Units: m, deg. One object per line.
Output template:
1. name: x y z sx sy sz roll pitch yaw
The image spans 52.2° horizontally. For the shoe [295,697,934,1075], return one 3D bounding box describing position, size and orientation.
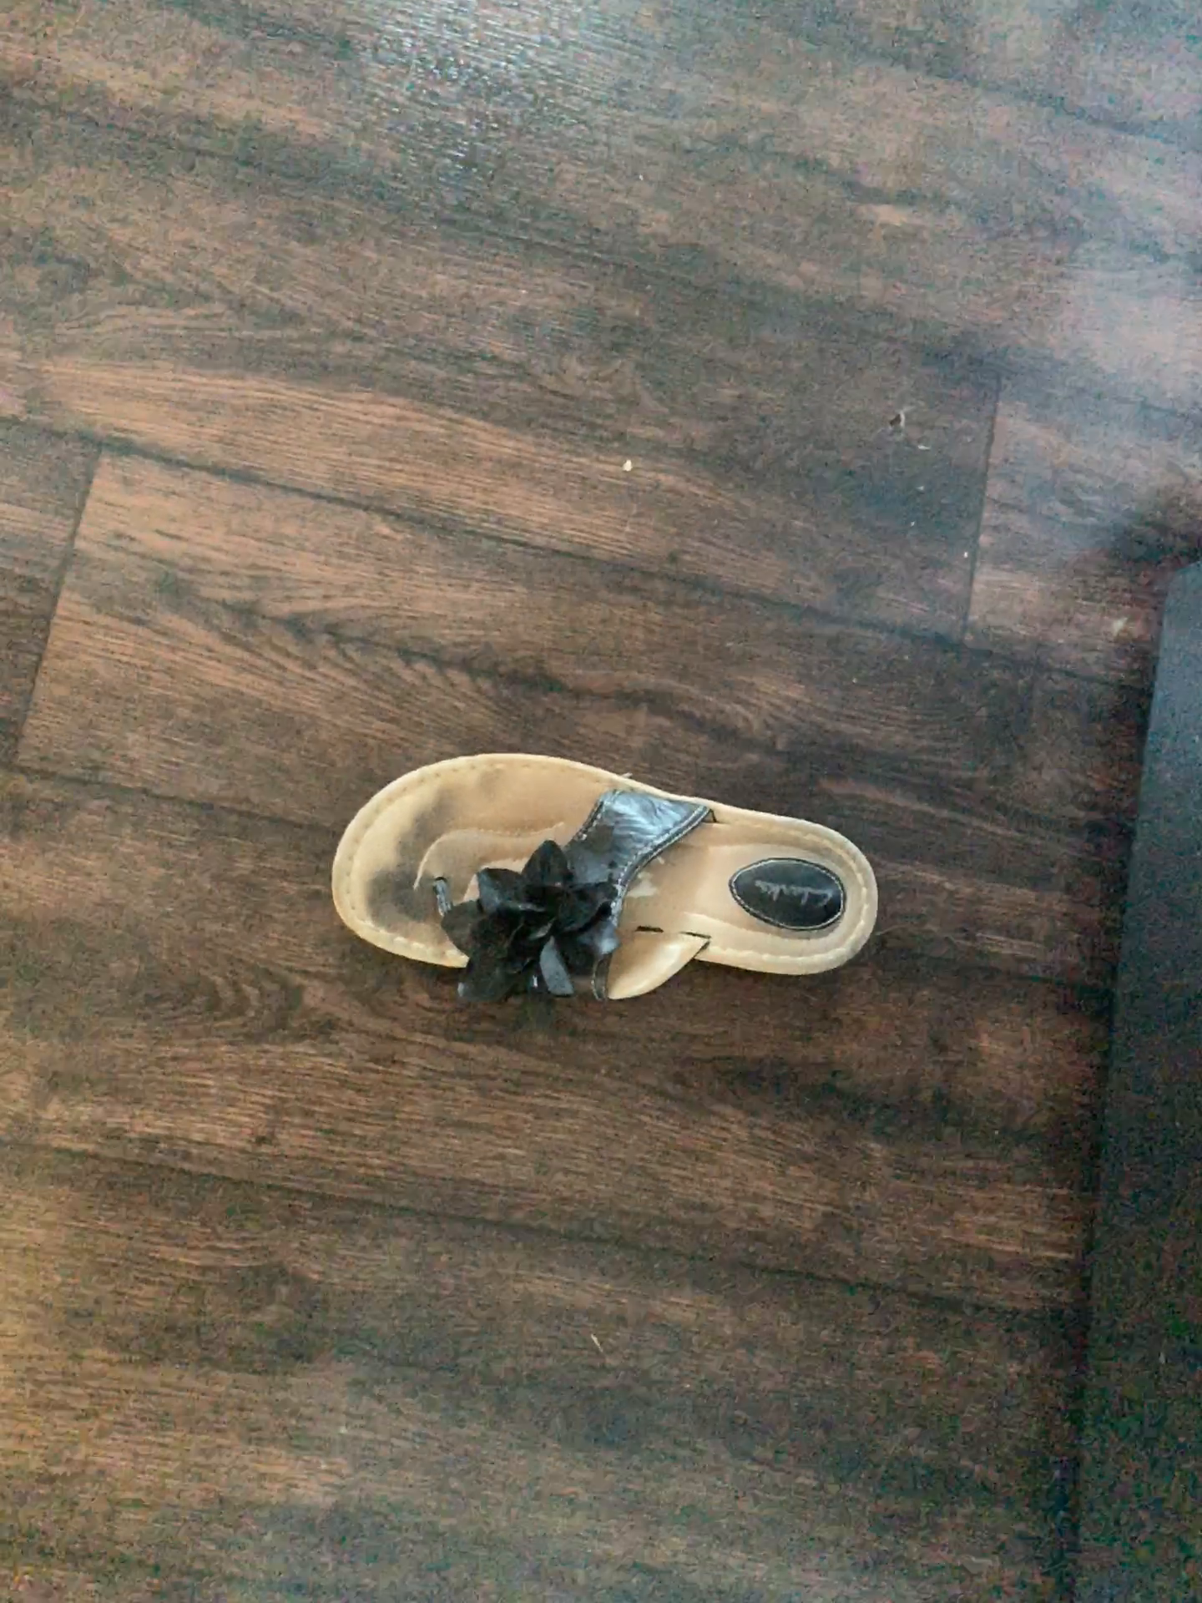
1. shoe: 0.008 0.039 0.529 0.250 0.050 0.110 11 81 -6
